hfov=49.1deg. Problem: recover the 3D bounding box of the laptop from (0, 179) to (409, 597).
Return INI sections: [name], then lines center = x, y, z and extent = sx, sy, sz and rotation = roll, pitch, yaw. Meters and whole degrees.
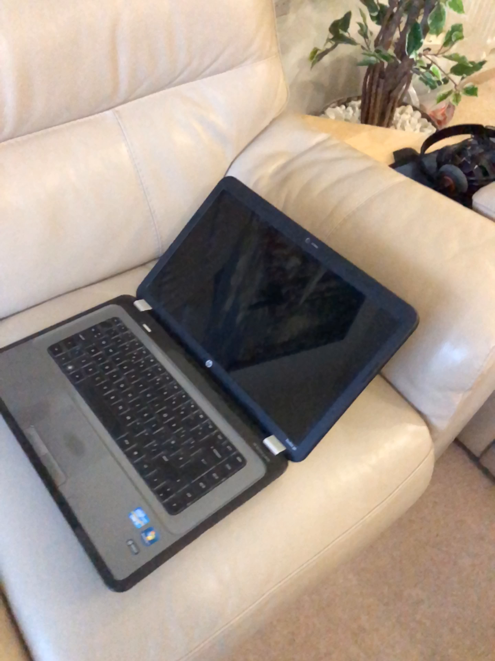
[laptop]
center = -0.085, 0.022, 0.677
extent = 0.425, 0.114, 0.359
rotation = -32, 60, -26
